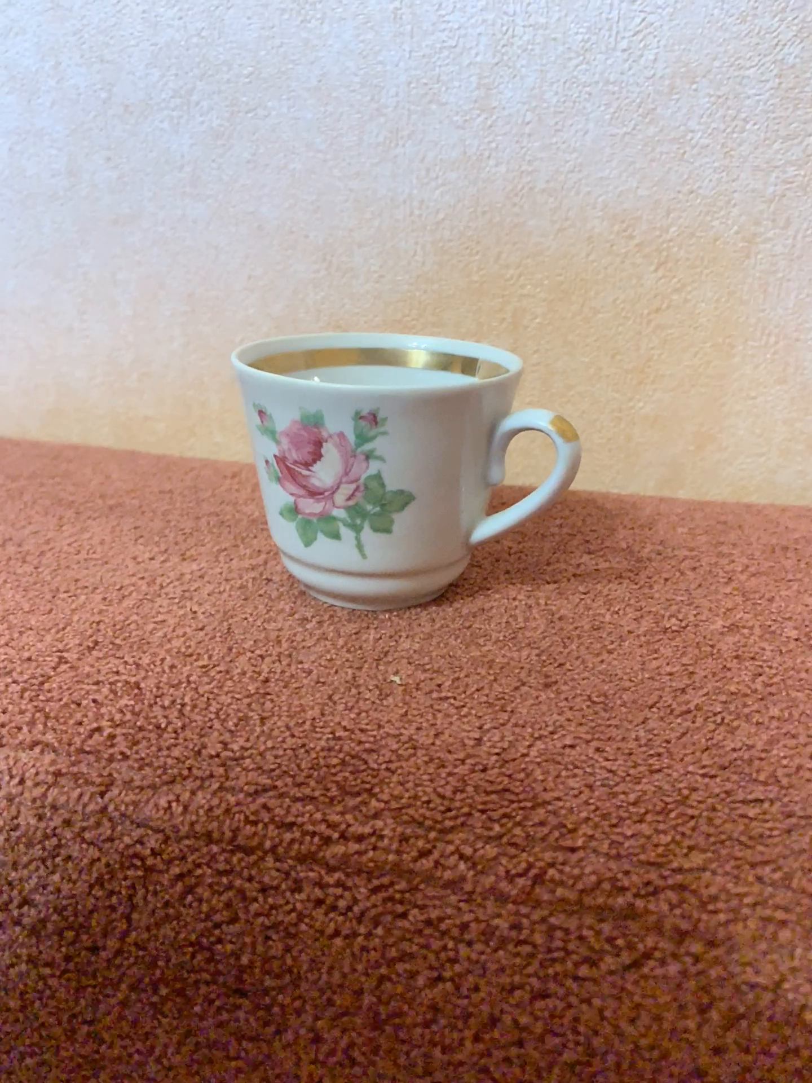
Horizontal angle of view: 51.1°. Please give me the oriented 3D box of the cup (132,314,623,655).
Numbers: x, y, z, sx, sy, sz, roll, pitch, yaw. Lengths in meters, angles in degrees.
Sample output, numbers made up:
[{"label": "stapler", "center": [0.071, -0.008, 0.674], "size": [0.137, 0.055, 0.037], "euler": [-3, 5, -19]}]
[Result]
[{"label": "cup", "center": [-0.003, -0.020, 0.194], "size": [0.086, 0.047, 0.067], "euler": [11, 26, 24]}]
